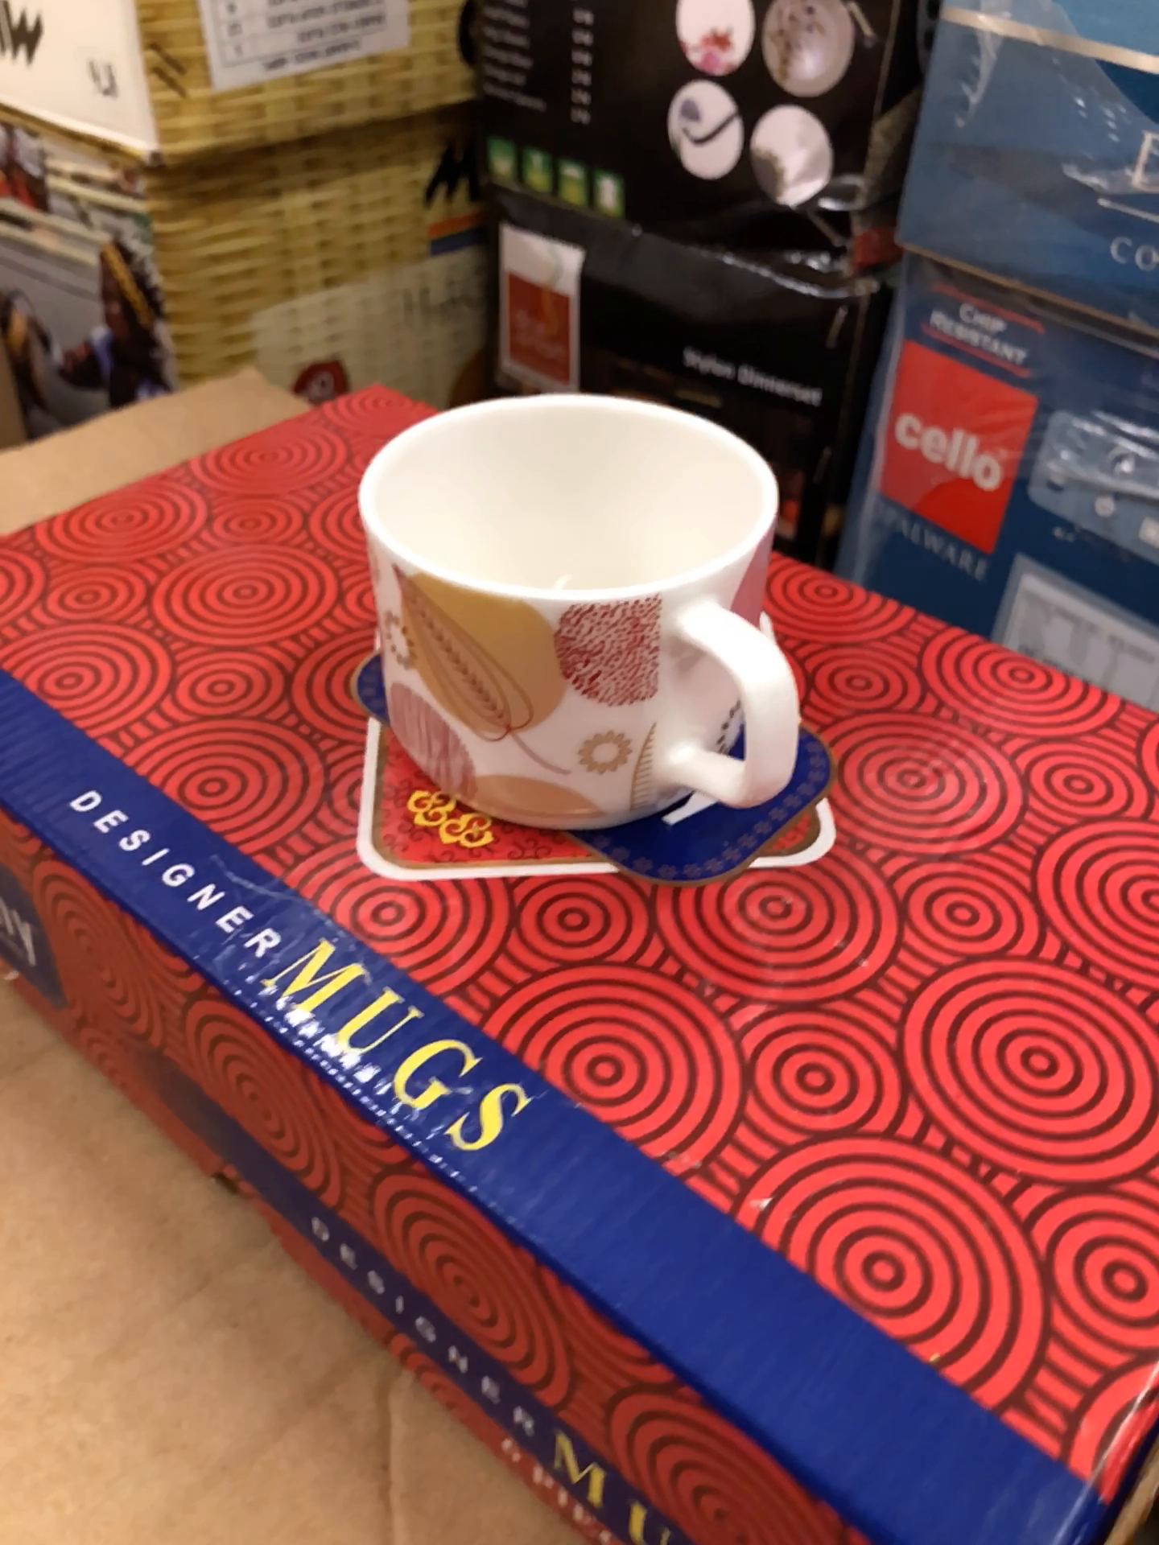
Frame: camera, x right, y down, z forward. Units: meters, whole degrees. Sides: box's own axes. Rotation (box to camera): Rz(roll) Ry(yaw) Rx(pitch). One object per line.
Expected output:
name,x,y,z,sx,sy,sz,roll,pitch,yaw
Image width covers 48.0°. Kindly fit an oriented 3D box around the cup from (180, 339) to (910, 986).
cup,-0.008,-0.025,0.217,0.070,0.050,0.090,-30,51,-34
